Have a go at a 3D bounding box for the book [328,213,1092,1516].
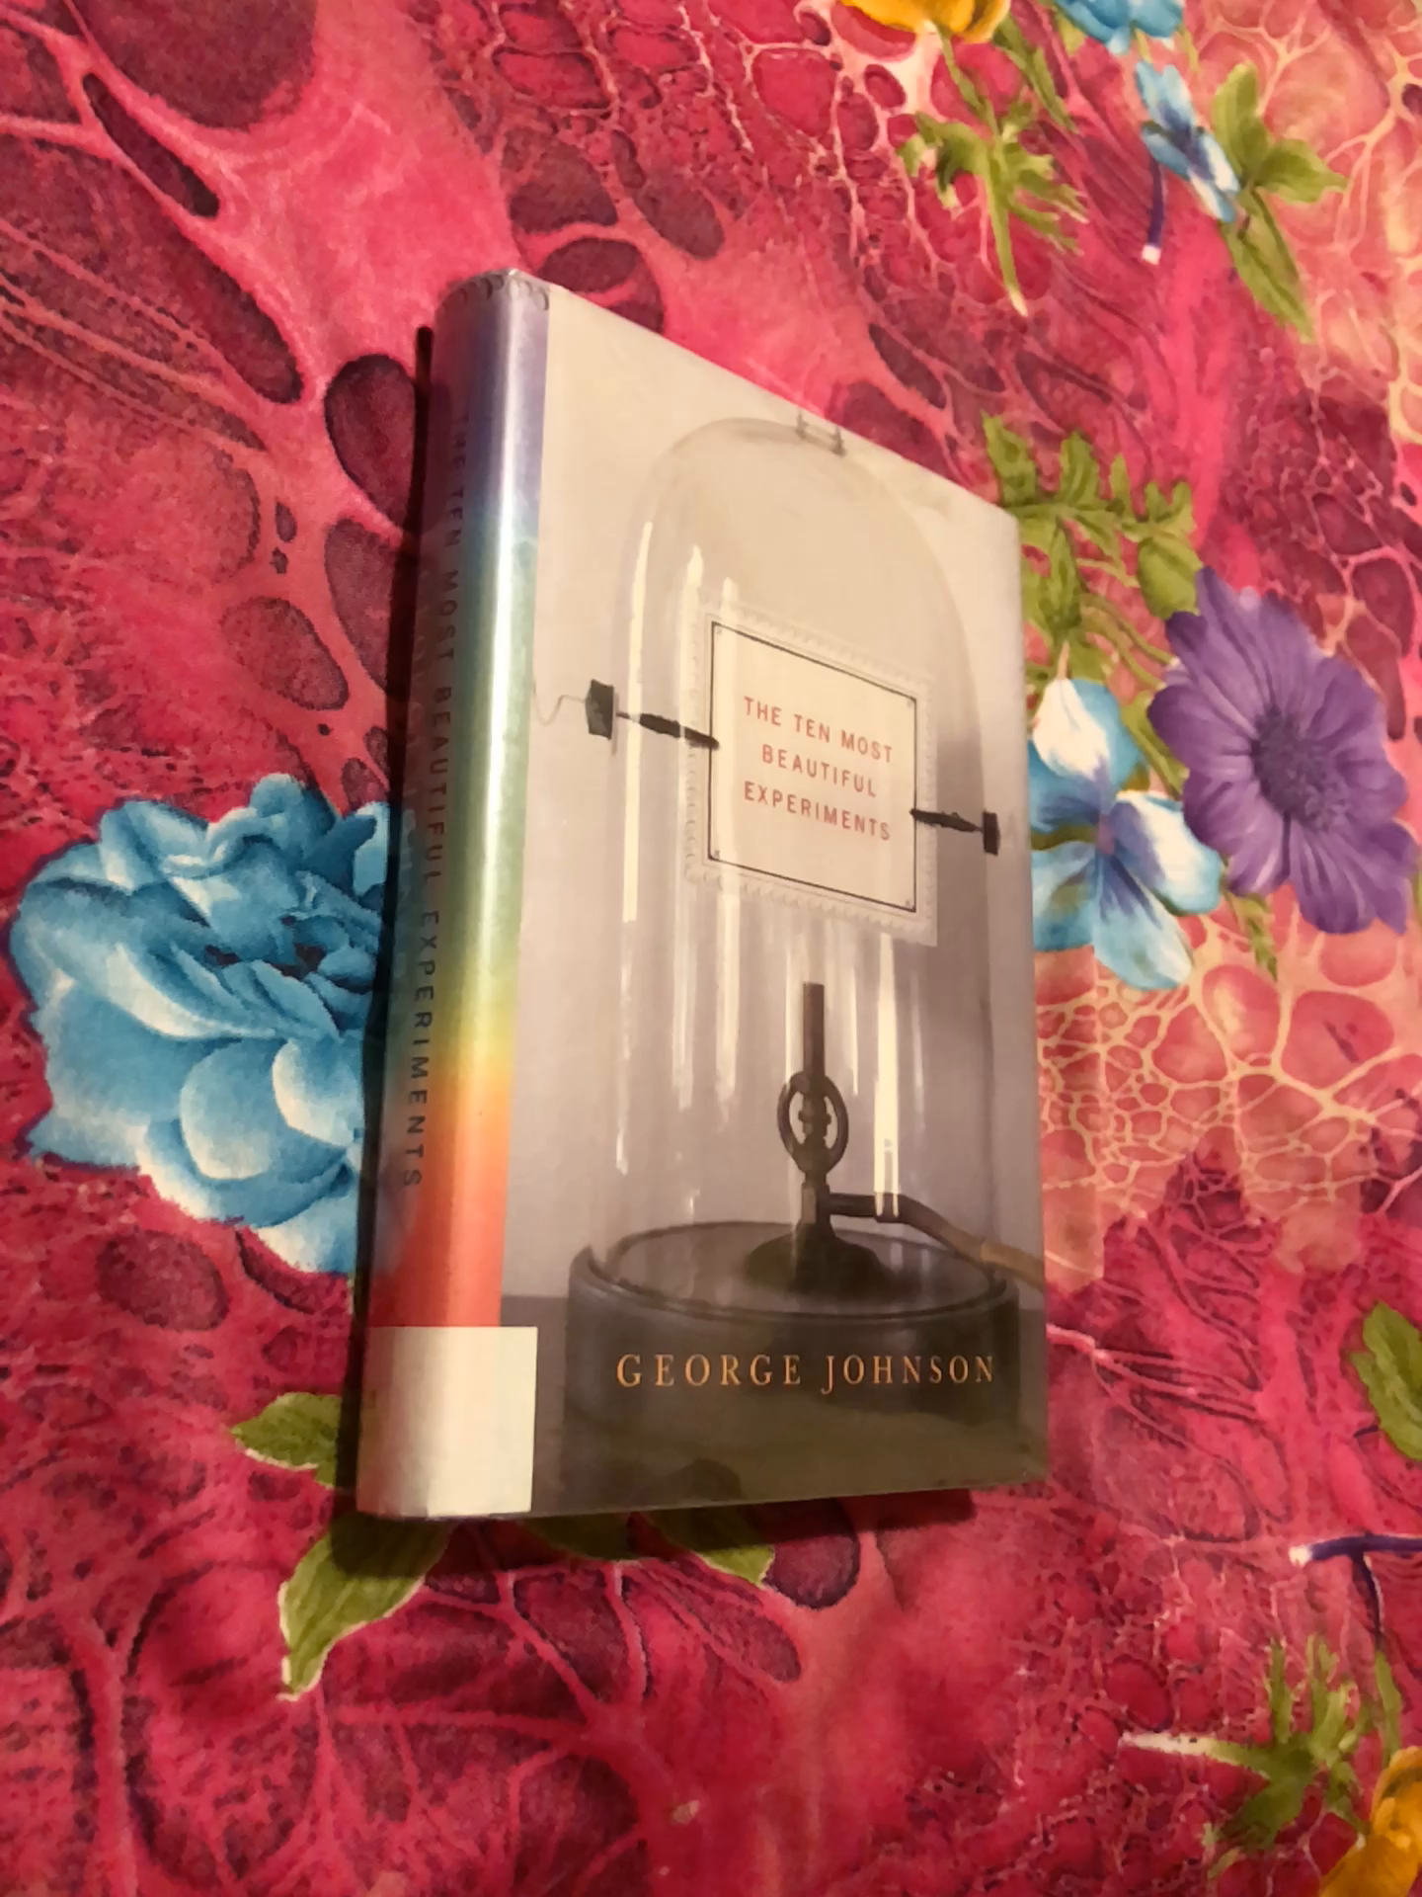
[{"bbox_3d":[0.007,-0.009,0.288,0.141,0.030,0.200,11,73,-38],"label":"book"}]
